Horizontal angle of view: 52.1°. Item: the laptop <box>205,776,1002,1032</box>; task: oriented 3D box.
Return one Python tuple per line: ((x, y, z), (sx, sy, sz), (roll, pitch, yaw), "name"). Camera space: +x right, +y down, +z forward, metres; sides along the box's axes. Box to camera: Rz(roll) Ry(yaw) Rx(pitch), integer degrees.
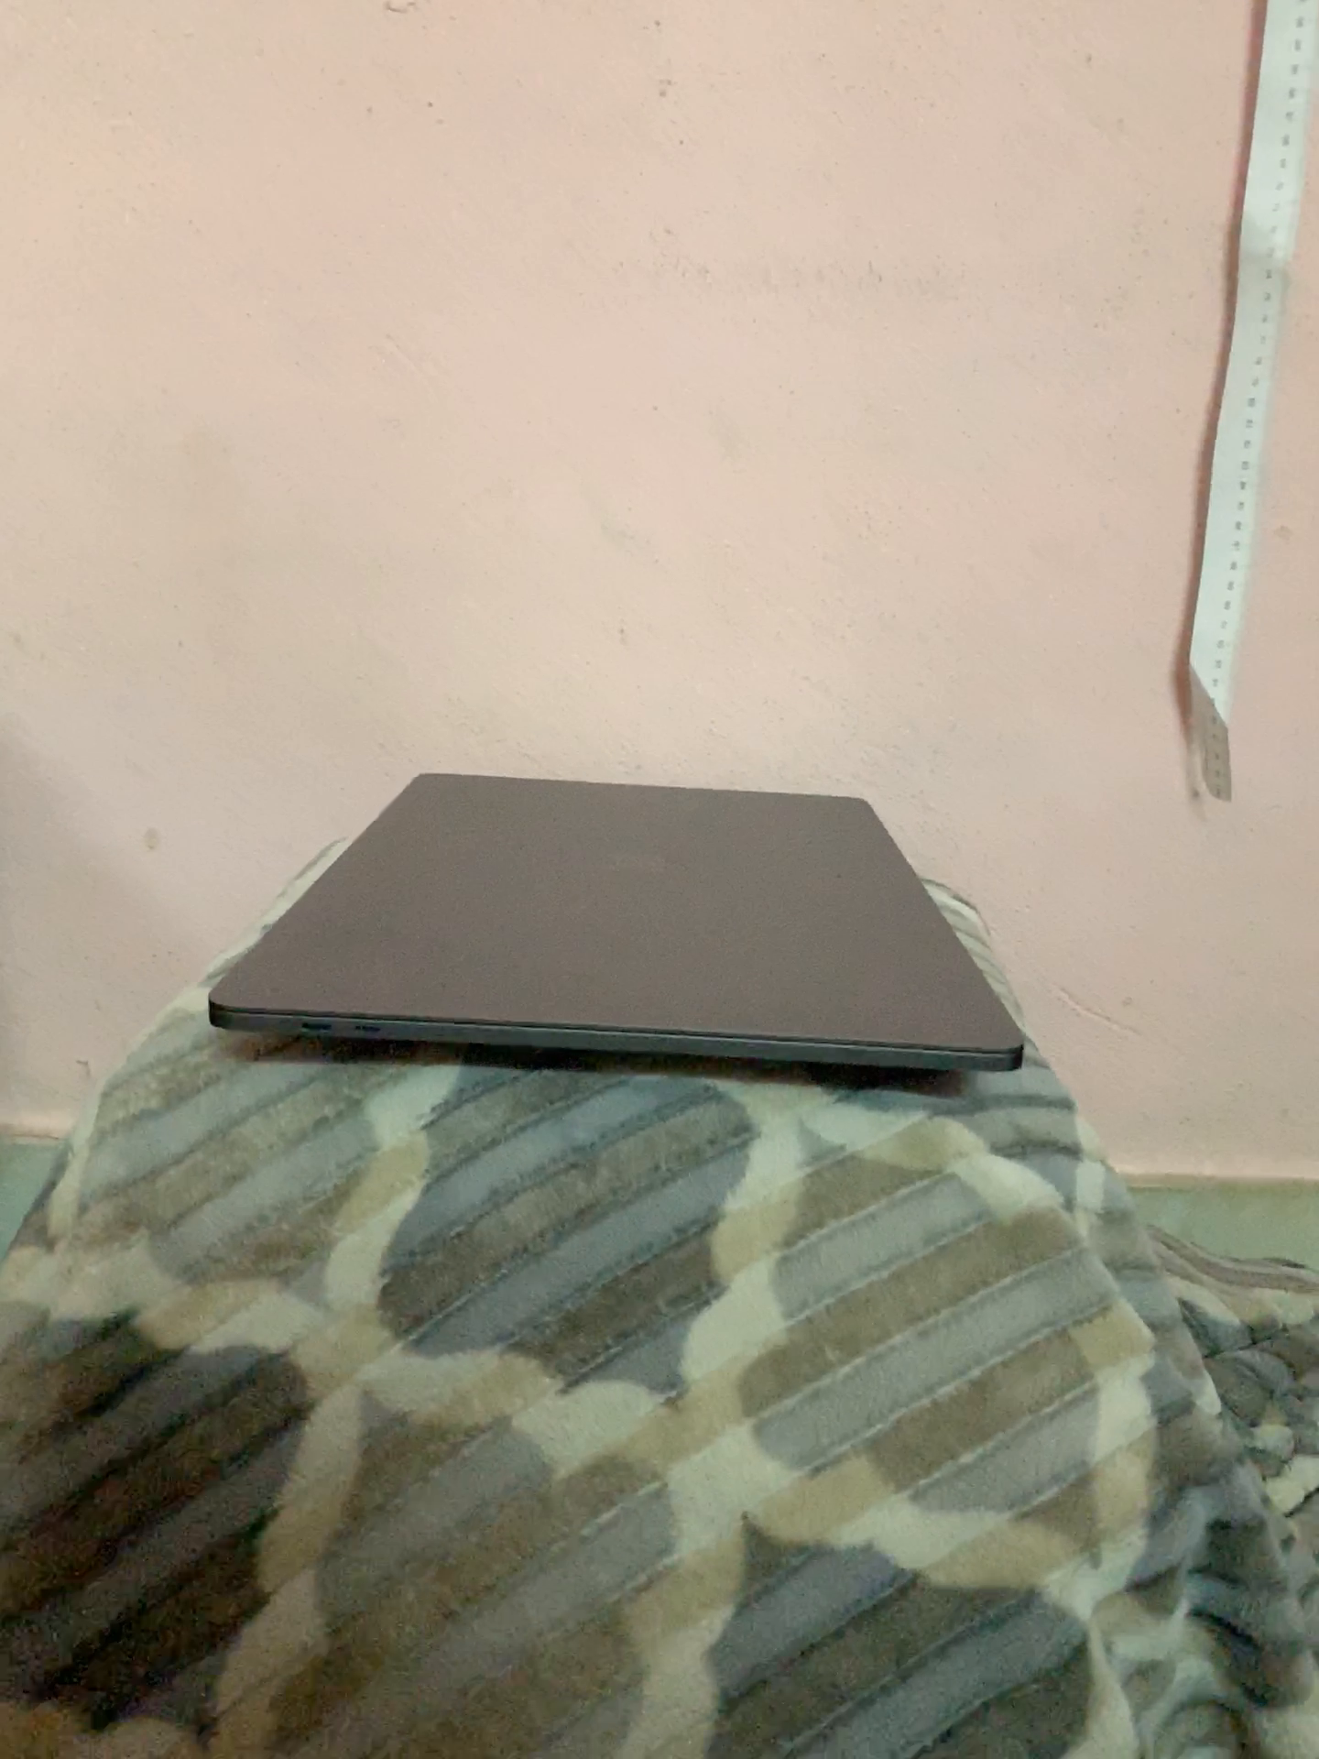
((-0.015, -0.005, 0.542), (0.228, 0.002, 0.327), (2, 16, 1), "laptop")
